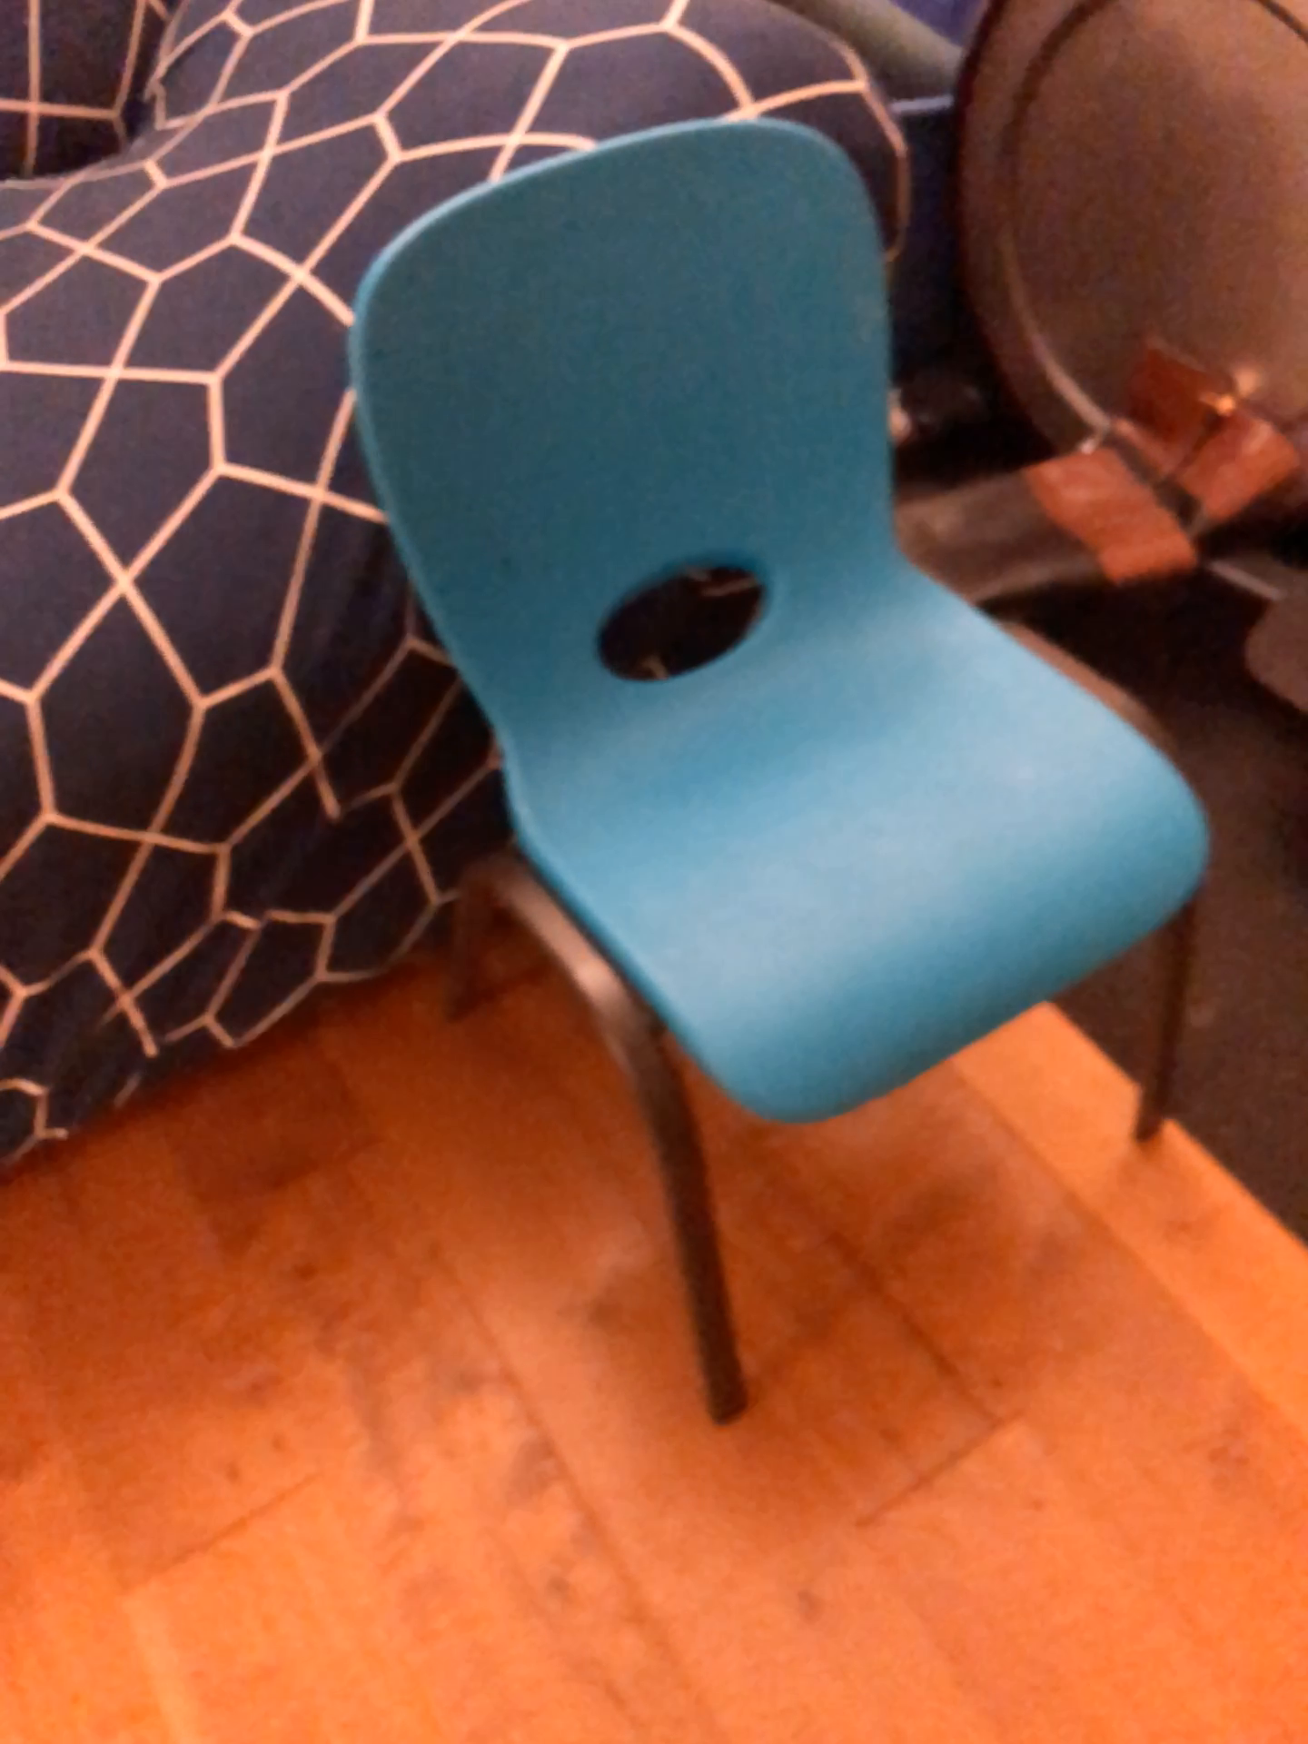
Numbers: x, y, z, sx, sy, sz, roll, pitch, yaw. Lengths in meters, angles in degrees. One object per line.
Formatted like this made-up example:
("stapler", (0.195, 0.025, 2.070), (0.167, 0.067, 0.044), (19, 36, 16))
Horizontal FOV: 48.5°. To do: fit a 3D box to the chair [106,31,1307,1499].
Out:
("chair", (0.071, -0.057, 0.778), (0.431, 0.527, 0.402), (-29, 51, -20))
